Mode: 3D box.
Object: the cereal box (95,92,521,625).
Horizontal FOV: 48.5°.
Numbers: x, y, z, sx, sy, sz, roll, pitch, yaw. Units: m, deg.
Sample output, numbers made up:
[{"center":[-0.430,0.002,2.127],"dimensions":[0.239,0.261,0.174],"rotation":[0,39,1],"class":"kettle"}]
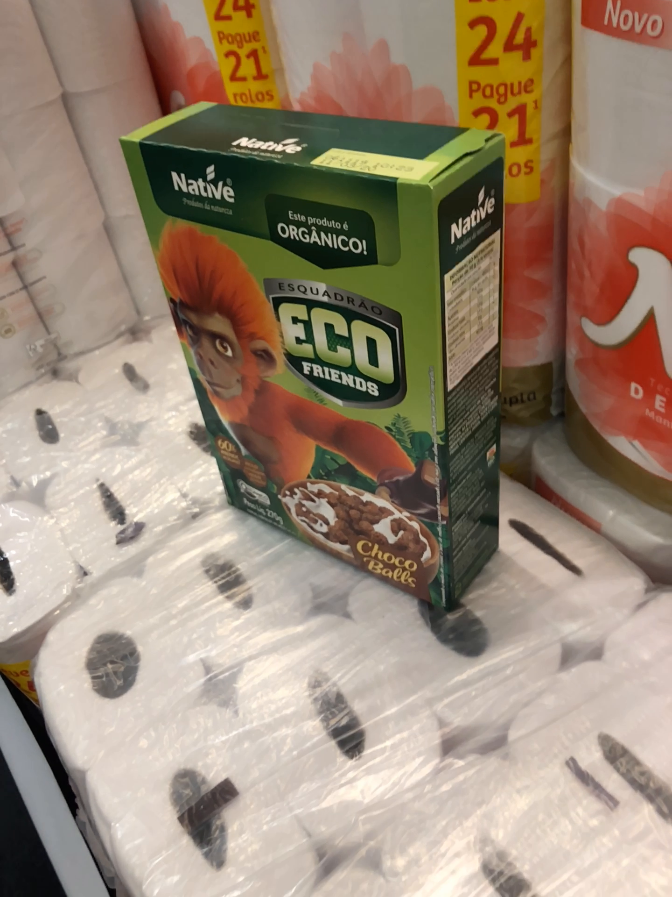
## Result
[{"center":[-0.007,-0.043,0.378],"dimensions":[0.181,0.228,0.060],"rotation":[23,49,33],"class":"cereal box"}]
